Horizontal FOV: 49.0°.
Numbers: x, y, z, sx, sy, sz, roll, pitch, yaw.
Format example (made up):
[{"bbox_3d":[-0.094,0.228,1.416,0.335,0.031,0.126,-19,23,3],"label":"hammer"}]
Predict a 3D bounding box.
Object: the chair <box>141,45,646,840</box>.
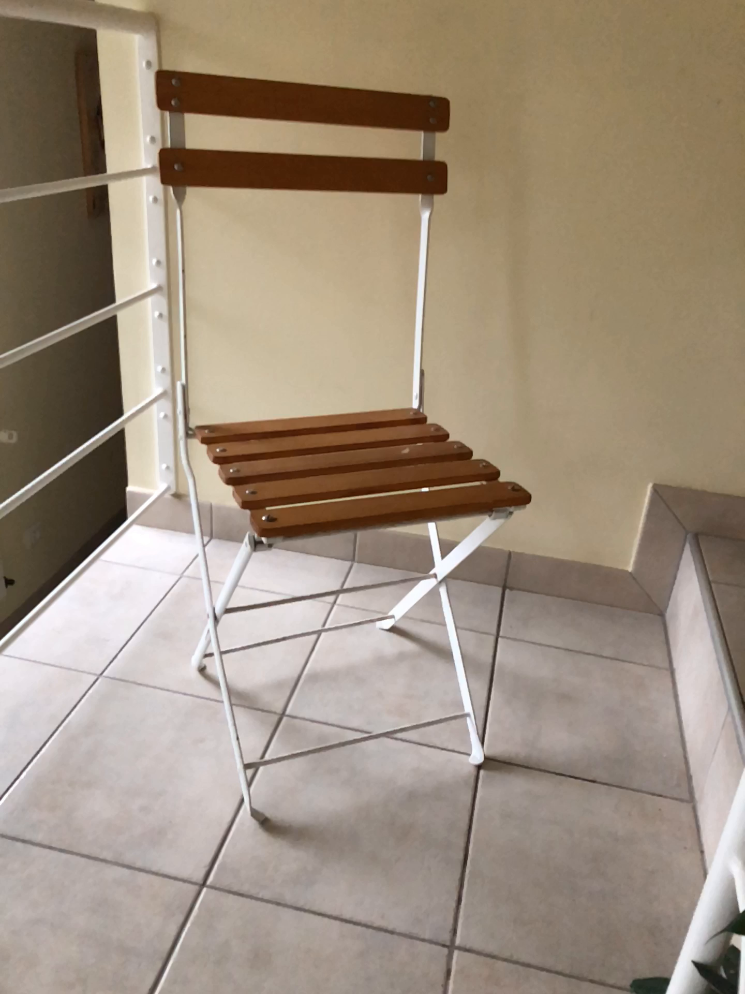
[{"bbox_3d":[-0.031,-0.082,1.107,0.441,0.875,0.431,-7,26,-22],"label":"chair"}]
